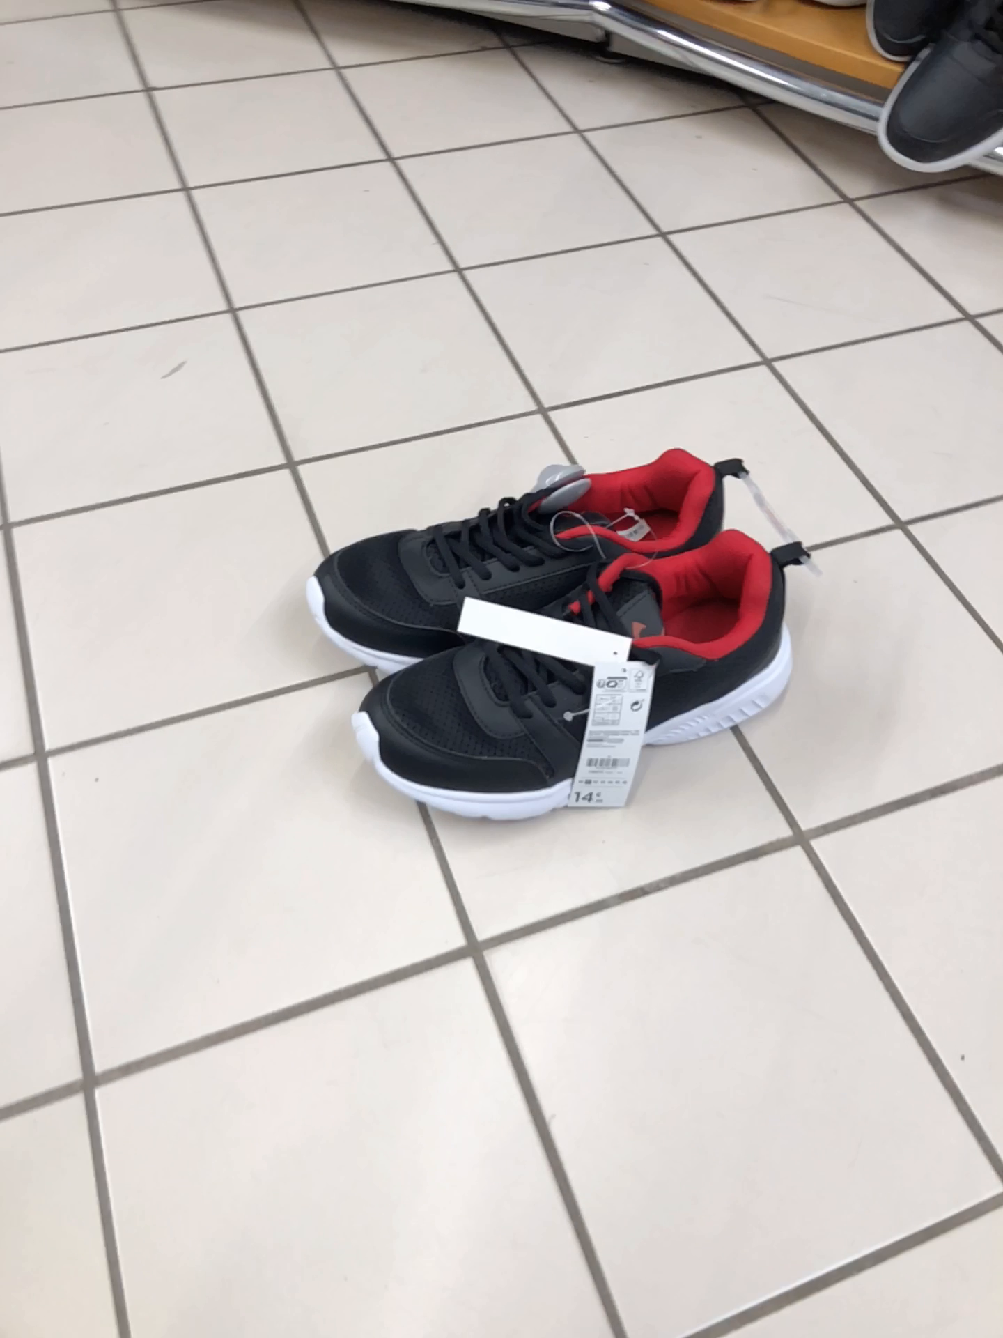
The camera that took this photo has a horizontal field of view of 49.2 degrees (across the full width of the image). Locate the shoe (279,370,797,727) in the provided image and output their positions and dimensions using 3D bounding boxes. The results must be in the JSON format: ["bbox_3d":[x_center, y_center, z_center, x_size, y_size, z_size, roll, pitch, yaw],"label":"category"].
[{"bbox_3d":[0.021,-0.078,0.689,0.285,0.129,0.100,-15,54,-14],"label":"shoe"}]

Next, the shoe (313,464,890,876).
[{"bbox_3d":[0.055,-0.003,0.636,0.295,0.129,0.100,-18,55,-16],"label":"shoe"}]
